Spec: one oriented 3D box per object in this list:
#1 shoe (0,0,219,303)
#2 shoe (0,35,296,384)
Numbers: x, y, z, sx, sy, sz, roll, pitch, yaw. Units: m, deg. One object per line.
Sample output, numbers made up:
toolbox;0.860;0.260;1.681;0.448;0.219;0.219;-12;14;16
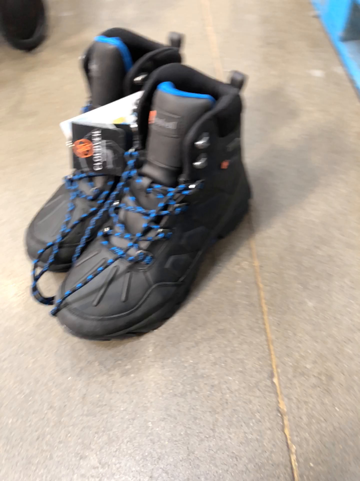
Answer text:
shoe;-0.091;-0.111;0.496;0.120;0.210;0.300;31;65;25
shoe;-0.028;-0.030;0.431;0.120;0.210;0.300;37;68;27
